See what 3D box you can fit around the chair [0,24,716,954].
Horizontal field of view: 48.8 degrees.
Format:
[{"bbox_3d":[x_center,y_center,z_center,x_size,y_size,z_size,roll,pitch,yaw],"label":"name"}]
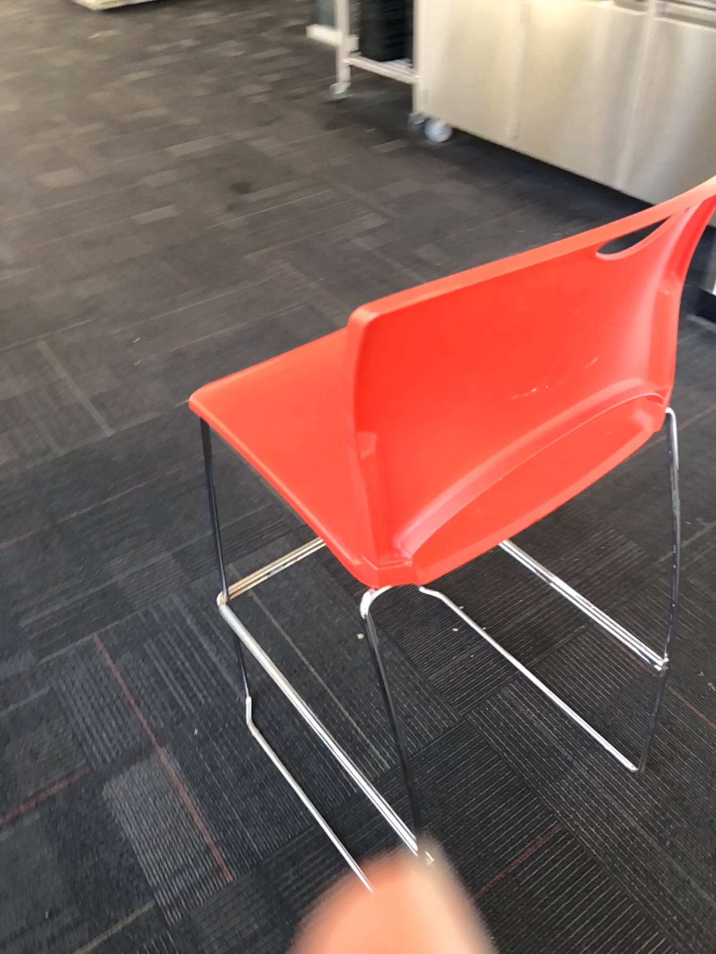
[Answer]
[{"bbox_3d":[0.098,0.058,1.052,0.591,0.995,0.662,-30,48,-29],"label":"chair"}]
